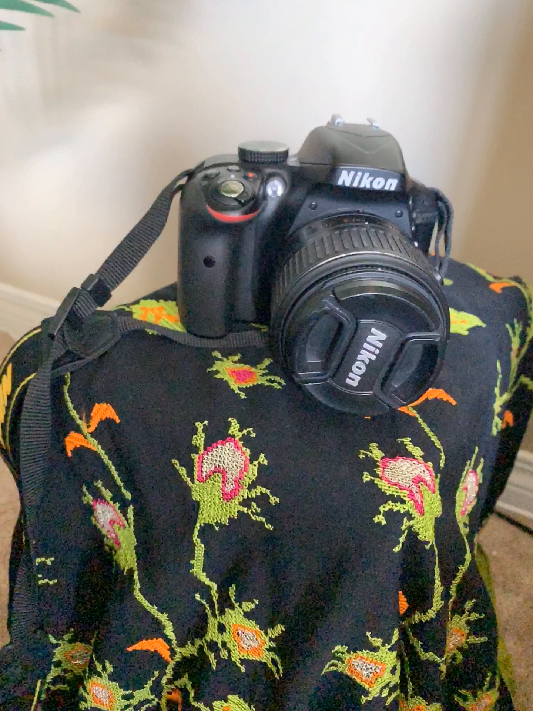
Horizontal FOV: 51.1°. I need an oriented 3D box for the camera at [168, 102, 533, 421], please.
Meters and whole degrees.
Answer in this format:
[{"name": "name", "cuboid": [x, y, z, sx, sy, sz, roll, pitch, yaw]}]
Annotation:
[{"name": "camera", "cuboid": [0.024, -0.043, 0.236, 0.120, 0.099, 0.091, 3, 30, -5]}]
